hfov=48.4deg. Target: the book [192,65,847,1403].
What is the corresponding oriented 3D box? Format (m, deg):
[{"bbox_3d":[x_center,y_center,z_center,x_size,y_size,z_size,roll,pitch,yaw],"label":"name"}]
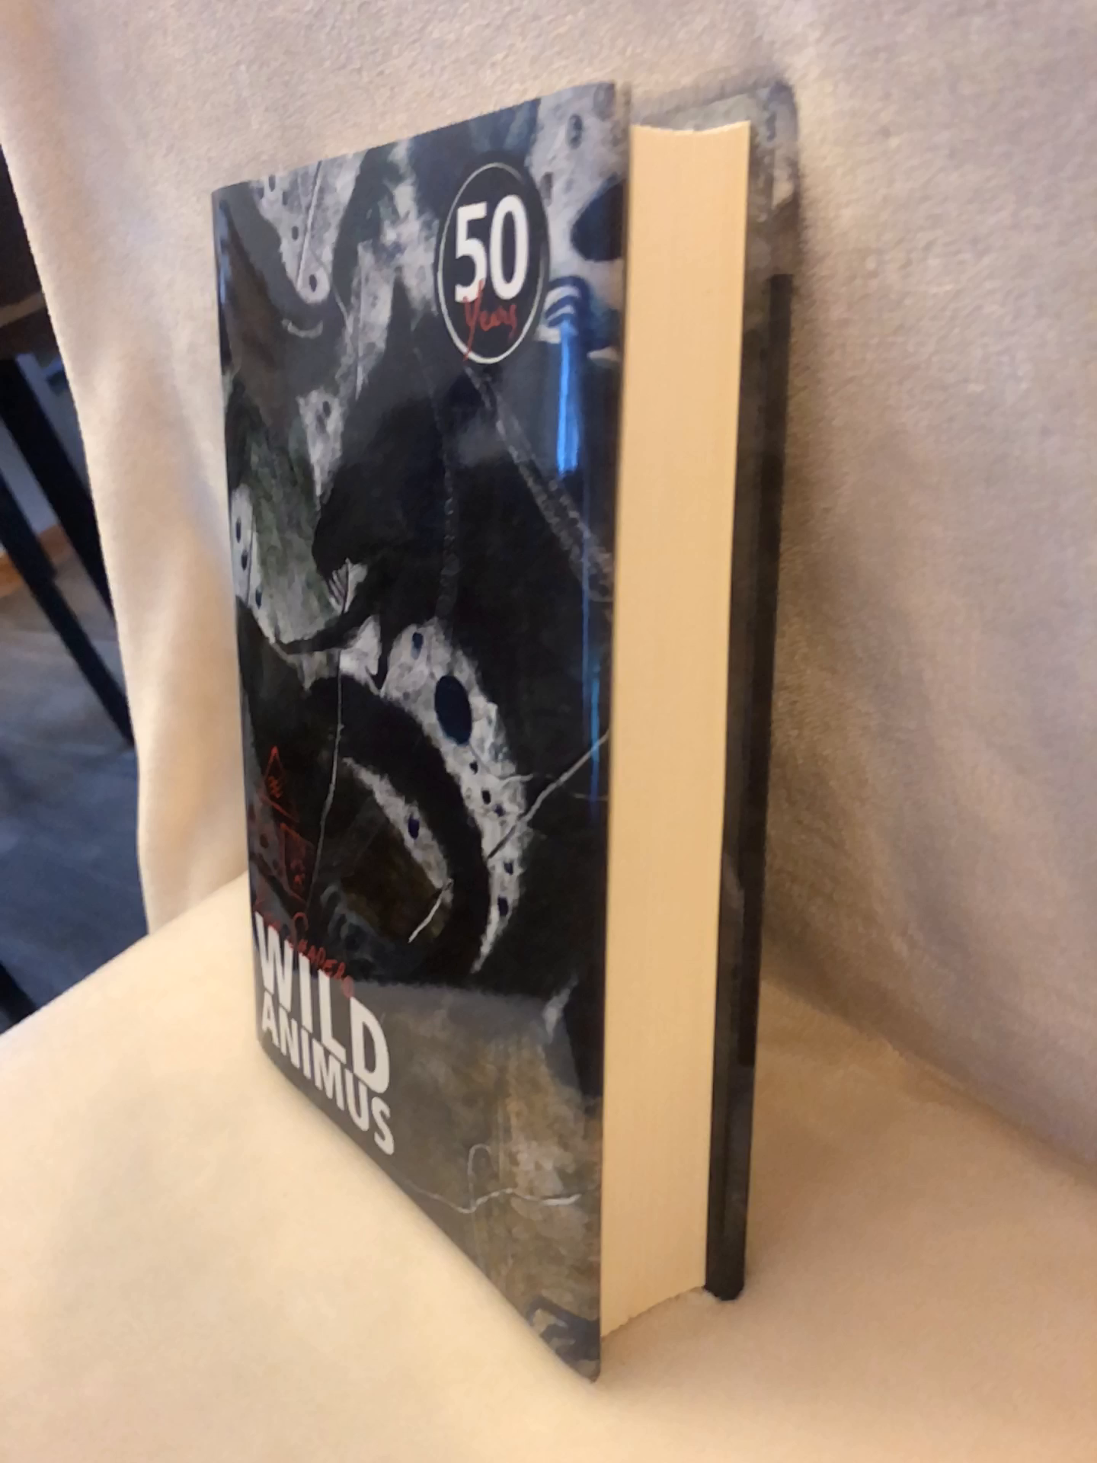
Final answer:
[{"bbox_3d":[-0.022,-0.006,0.267,0.043,0.216,0.163,-9,18,-35],"label":"book"}]
